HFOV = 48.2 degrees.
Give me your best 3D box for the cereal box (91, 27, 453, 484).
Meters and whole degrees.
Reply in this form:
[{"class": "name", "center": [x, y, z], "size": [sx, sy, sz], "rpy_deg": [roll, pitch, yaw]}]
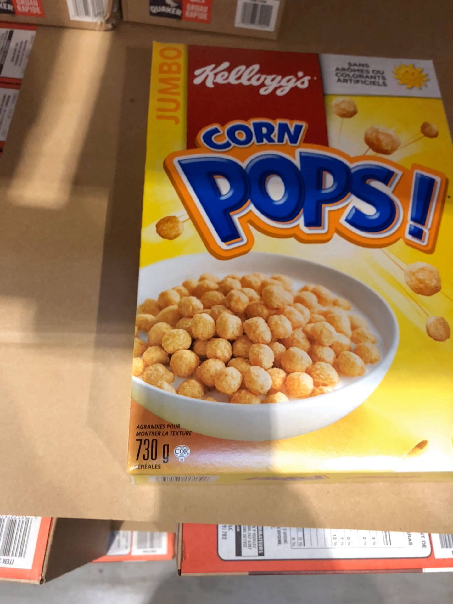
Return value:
[{"class": "cereal box", "center": [0.058, -0.043, 0.395], "size": [0.270, 0.100, 0.340], "rpy_deg": [2, 66, -5]}]
